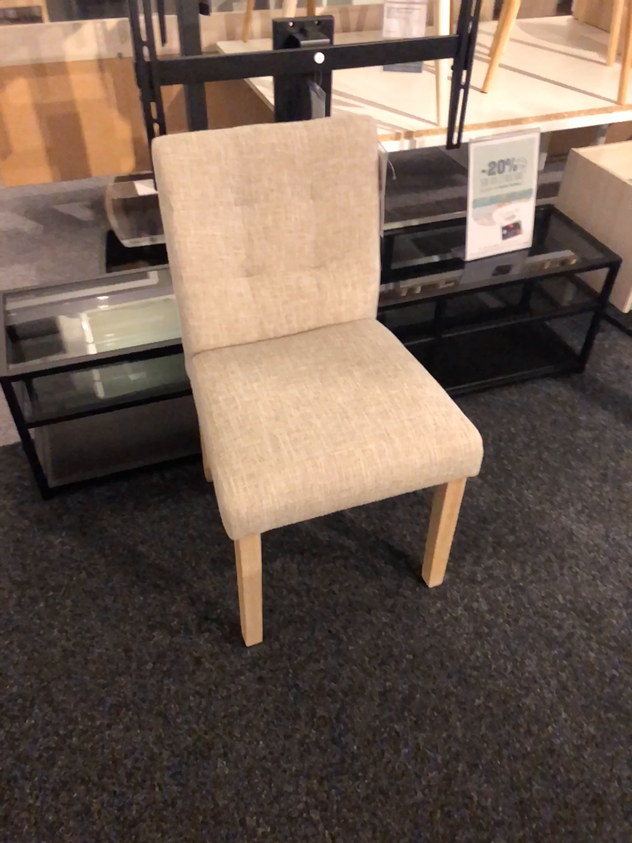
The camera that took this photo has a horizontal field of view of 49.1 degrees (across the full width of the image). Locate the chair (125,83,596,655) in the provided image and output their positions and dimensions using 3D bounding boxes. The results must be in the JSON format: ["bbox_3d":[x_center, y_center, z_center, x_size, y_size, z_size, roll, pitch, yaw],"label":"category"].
[{"bbox_3d":[0.016,-0.096,1.347,0.551,0.855,0.562,-13,44,-16],"label":"chair"}]
